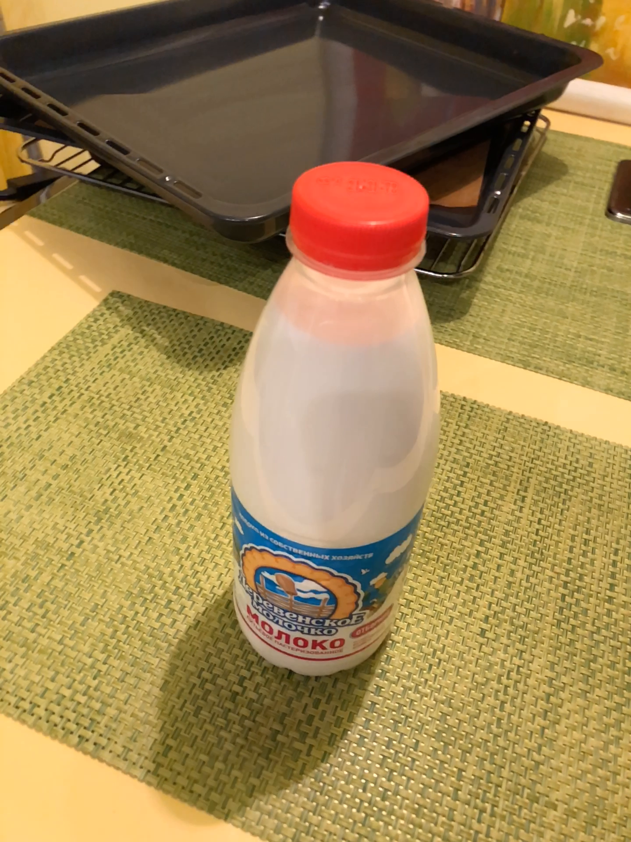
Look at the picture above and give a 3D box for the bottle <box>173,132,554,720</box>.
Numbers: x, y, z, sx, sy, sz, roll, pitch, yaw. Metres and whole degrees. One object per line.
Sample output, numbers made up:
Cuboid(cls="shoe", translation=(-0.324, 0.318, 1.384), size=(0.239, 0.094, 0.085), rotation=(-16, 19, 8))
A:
Cuboid(cls="bottle", translation=(0.013, 0.018, 0.280), size=(0.090, 0.218, 0.091), rotation=(3, 45, -3))
